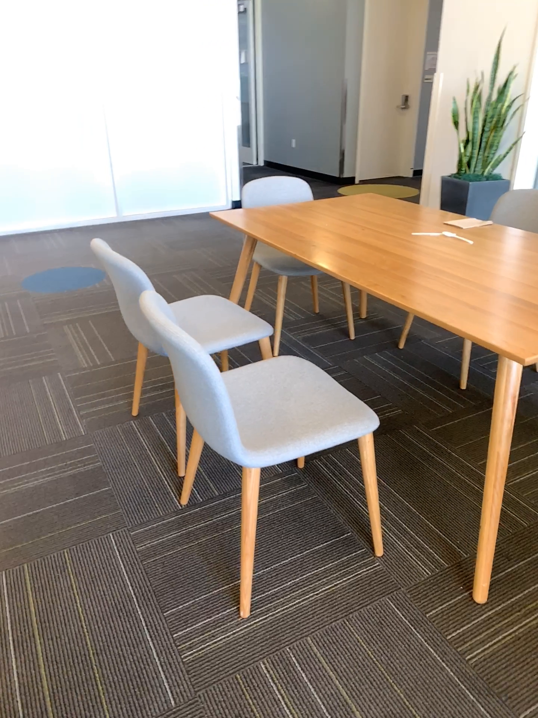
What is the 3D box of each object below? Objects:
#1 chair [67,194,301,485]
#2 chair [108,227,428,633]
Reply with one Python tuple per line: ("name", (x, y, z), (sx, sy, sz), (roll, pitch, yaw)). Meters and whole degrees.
("chair", (-0.292, -0.117, 2.038), (0.581, 0.805, 0.573), (-20, 32, -29))
("chair", (-0.013, 0.138, 1.528), (0.580, 0.805, 0.573), (-17, 30, -25))
